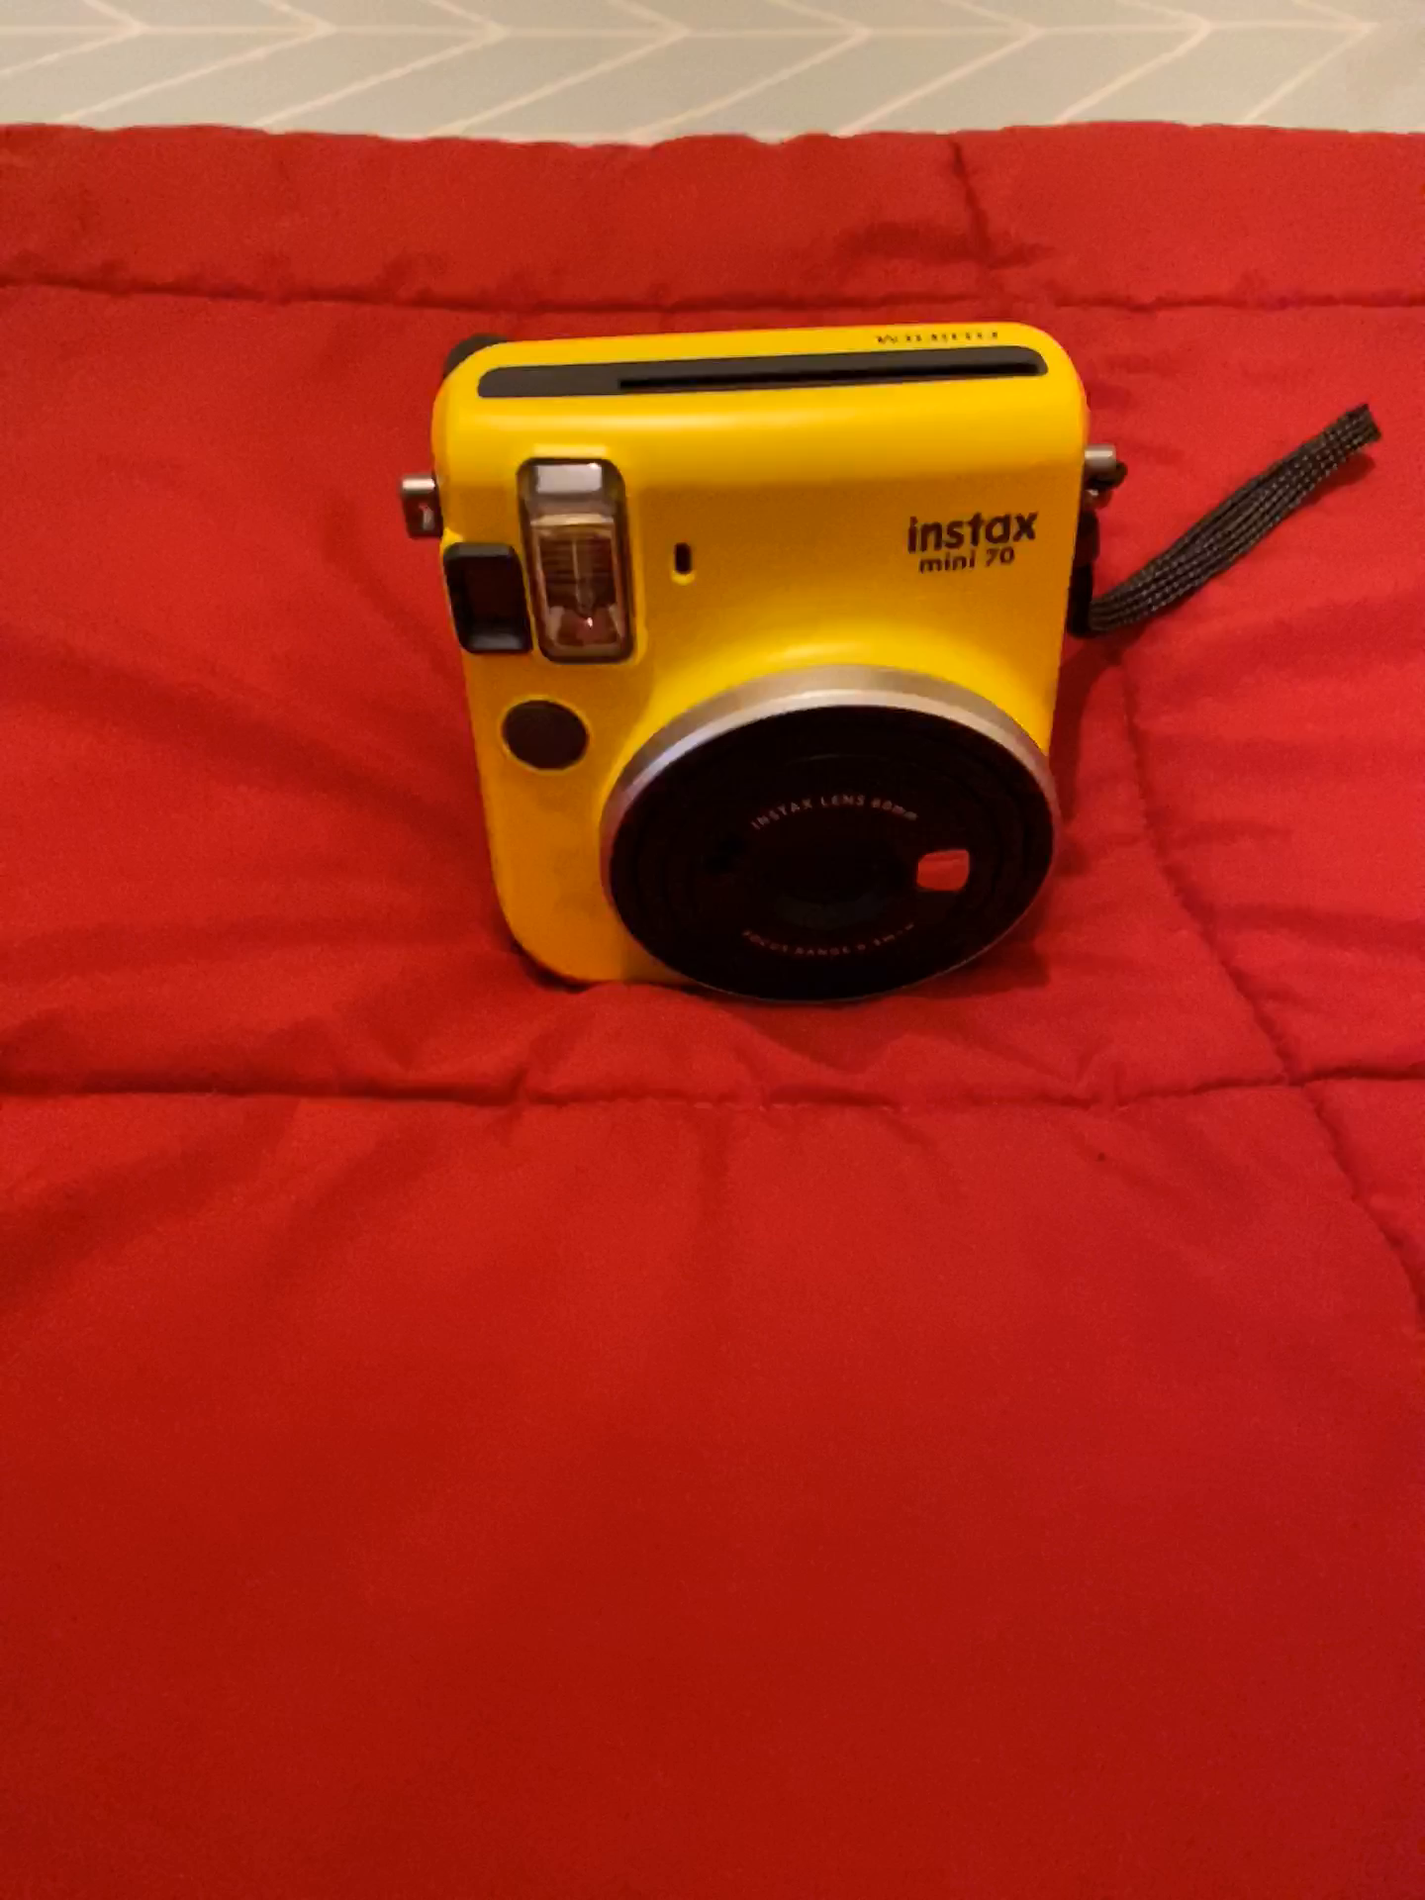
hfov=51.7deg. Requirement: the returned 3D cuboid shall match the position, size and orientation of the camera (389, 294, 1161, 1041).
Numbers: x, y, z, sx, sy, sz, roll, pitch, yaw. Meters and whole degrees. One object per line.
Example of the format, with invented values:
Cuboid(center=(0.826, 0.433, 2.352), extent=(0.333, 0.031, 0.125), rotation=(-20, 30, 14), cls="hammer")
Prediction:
Cuboid(center=(0.007, -0.041, 0.238), extent=(0.095, 0.103, 0.057), rotation=(-2, 49, -1), cls="camera")
